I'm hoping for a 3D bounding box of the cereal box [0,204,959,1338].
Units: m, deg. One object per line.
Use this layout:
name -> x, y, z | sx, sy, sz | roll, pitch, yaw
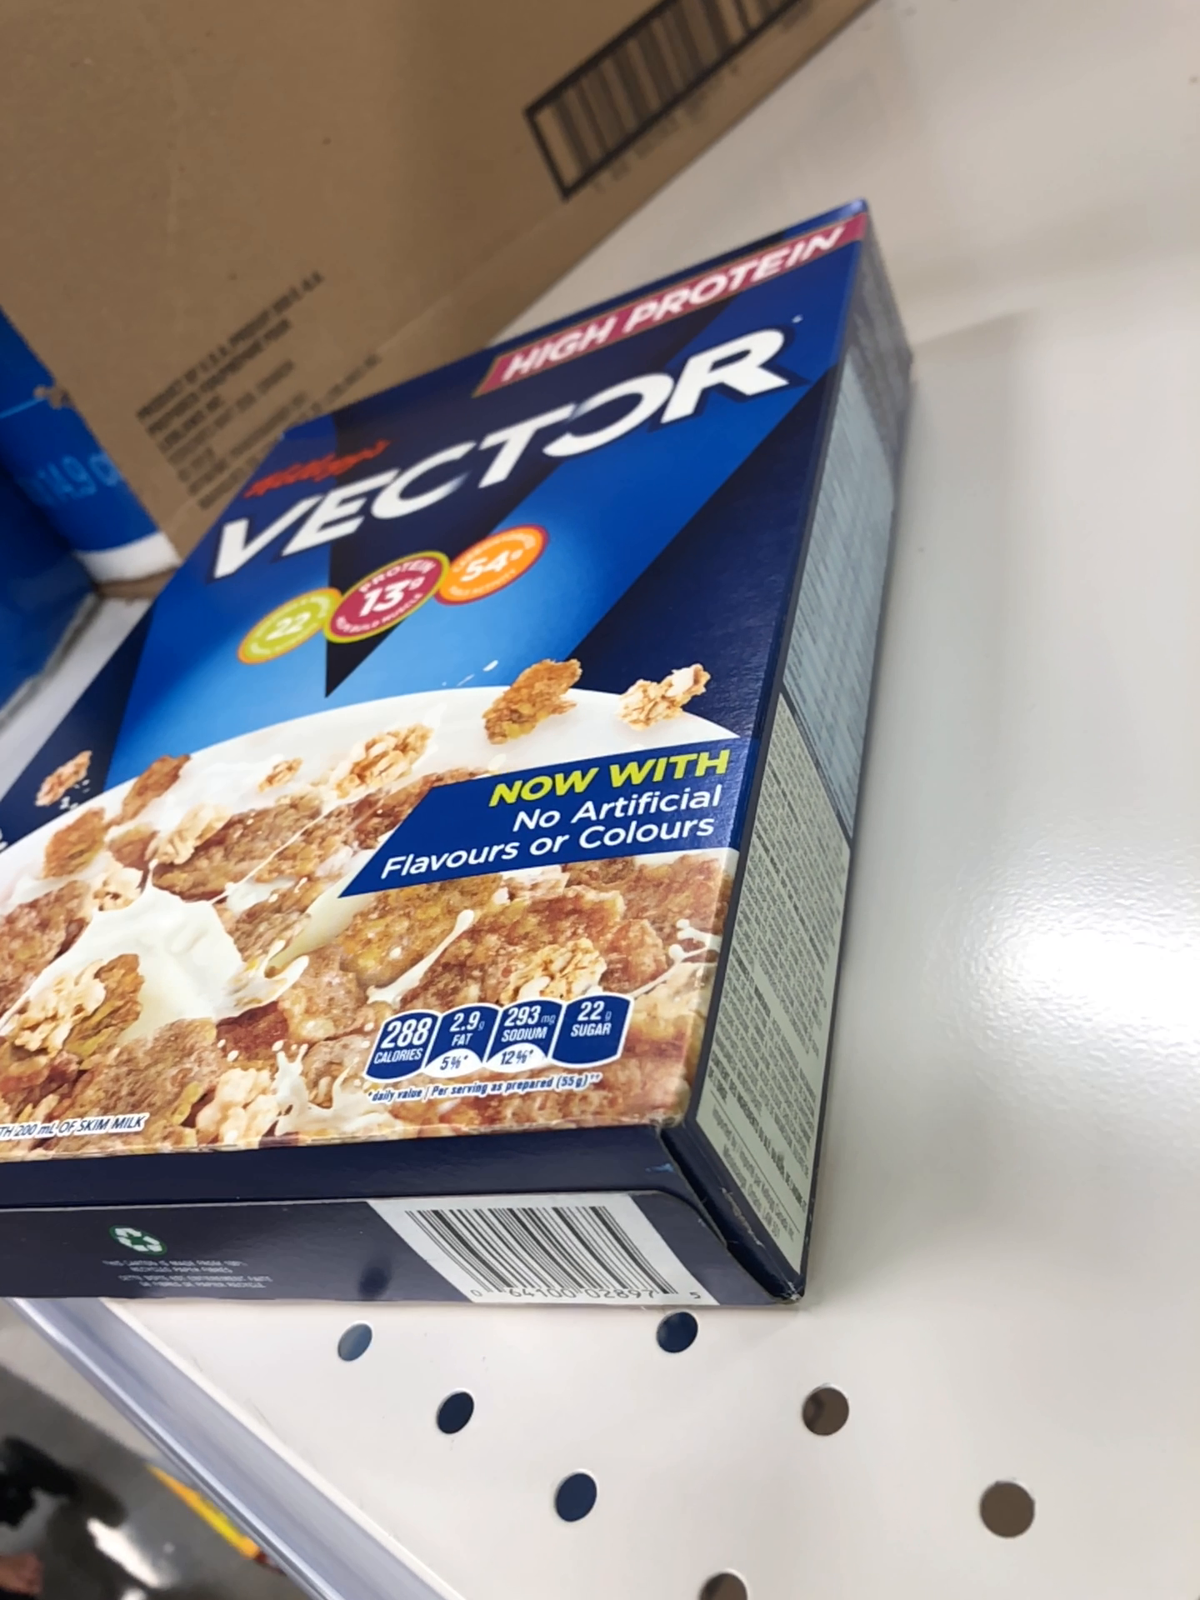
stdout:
cereal box -> -0.035, -0.026, 0.315 | 0.211, 0.050, 0.291 | -11, 37, 27
